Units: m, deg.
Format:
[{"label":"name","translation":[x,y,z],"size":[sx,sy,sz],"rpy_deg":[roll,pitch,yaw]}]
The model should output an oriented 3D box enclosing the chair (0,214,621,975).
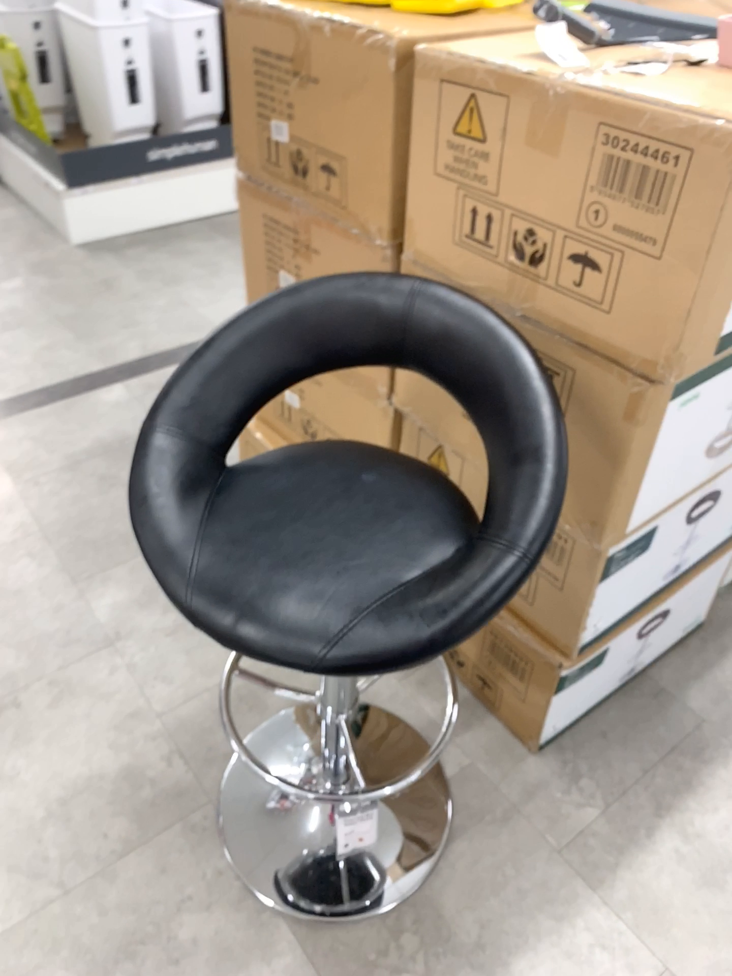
[{"label":"chair","translation":[-0.050,0.198,1.077],"size":[0.510,0.933,0.486],"rpy_deg":[17,41,17]}]
